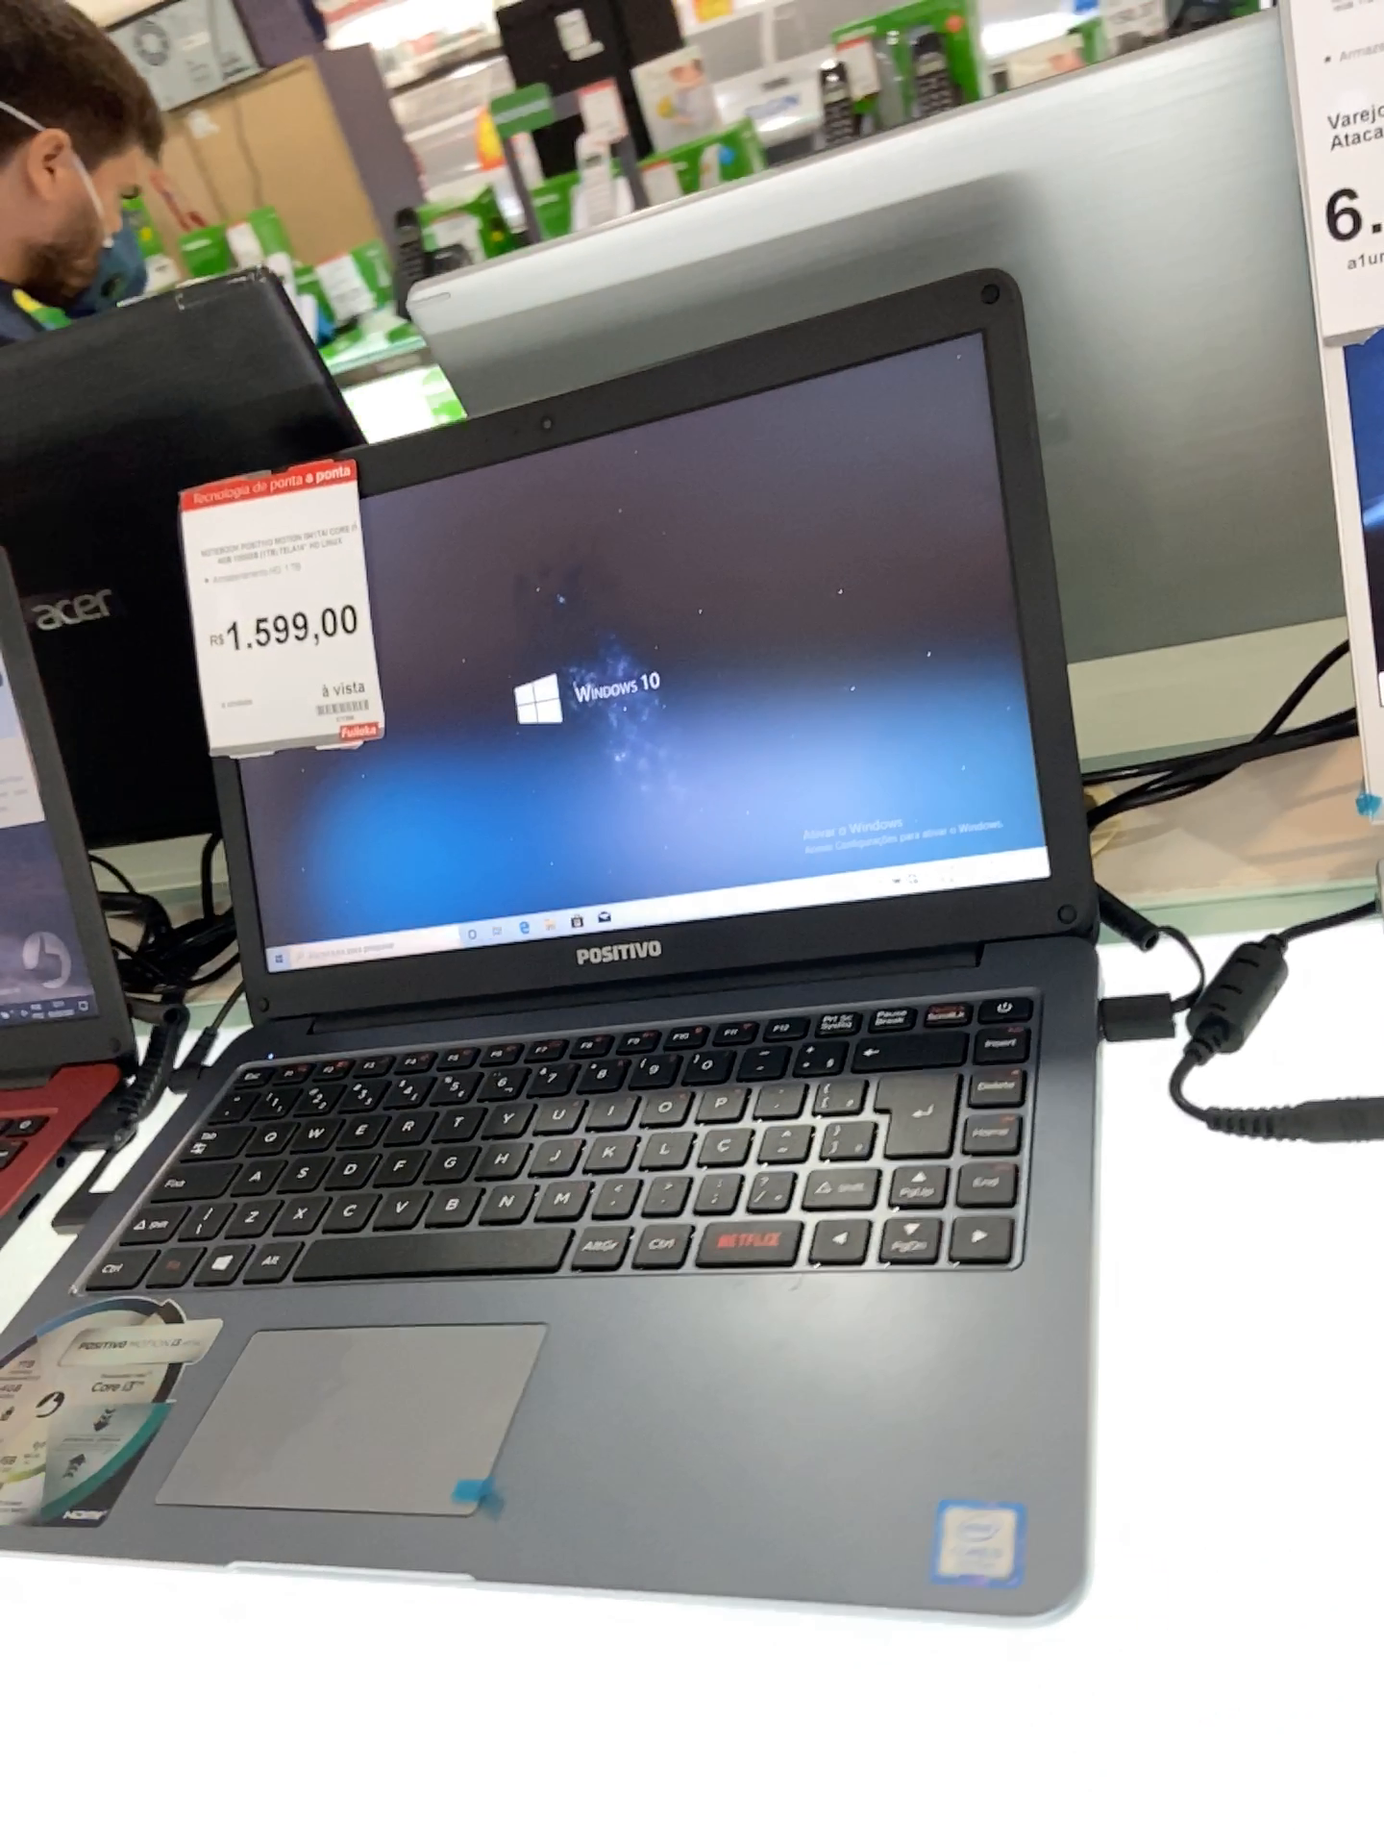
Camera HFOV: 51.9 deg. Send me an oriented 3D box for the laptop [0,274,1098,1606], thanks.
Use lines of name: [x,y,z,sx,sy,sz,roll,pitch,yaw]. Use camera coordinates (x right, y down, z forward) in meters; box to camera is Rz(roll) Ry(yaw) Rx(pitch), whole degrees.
laptop: [-0.065,-0.017,0.408,0.319,0.171,0.325,-8,32,22]
